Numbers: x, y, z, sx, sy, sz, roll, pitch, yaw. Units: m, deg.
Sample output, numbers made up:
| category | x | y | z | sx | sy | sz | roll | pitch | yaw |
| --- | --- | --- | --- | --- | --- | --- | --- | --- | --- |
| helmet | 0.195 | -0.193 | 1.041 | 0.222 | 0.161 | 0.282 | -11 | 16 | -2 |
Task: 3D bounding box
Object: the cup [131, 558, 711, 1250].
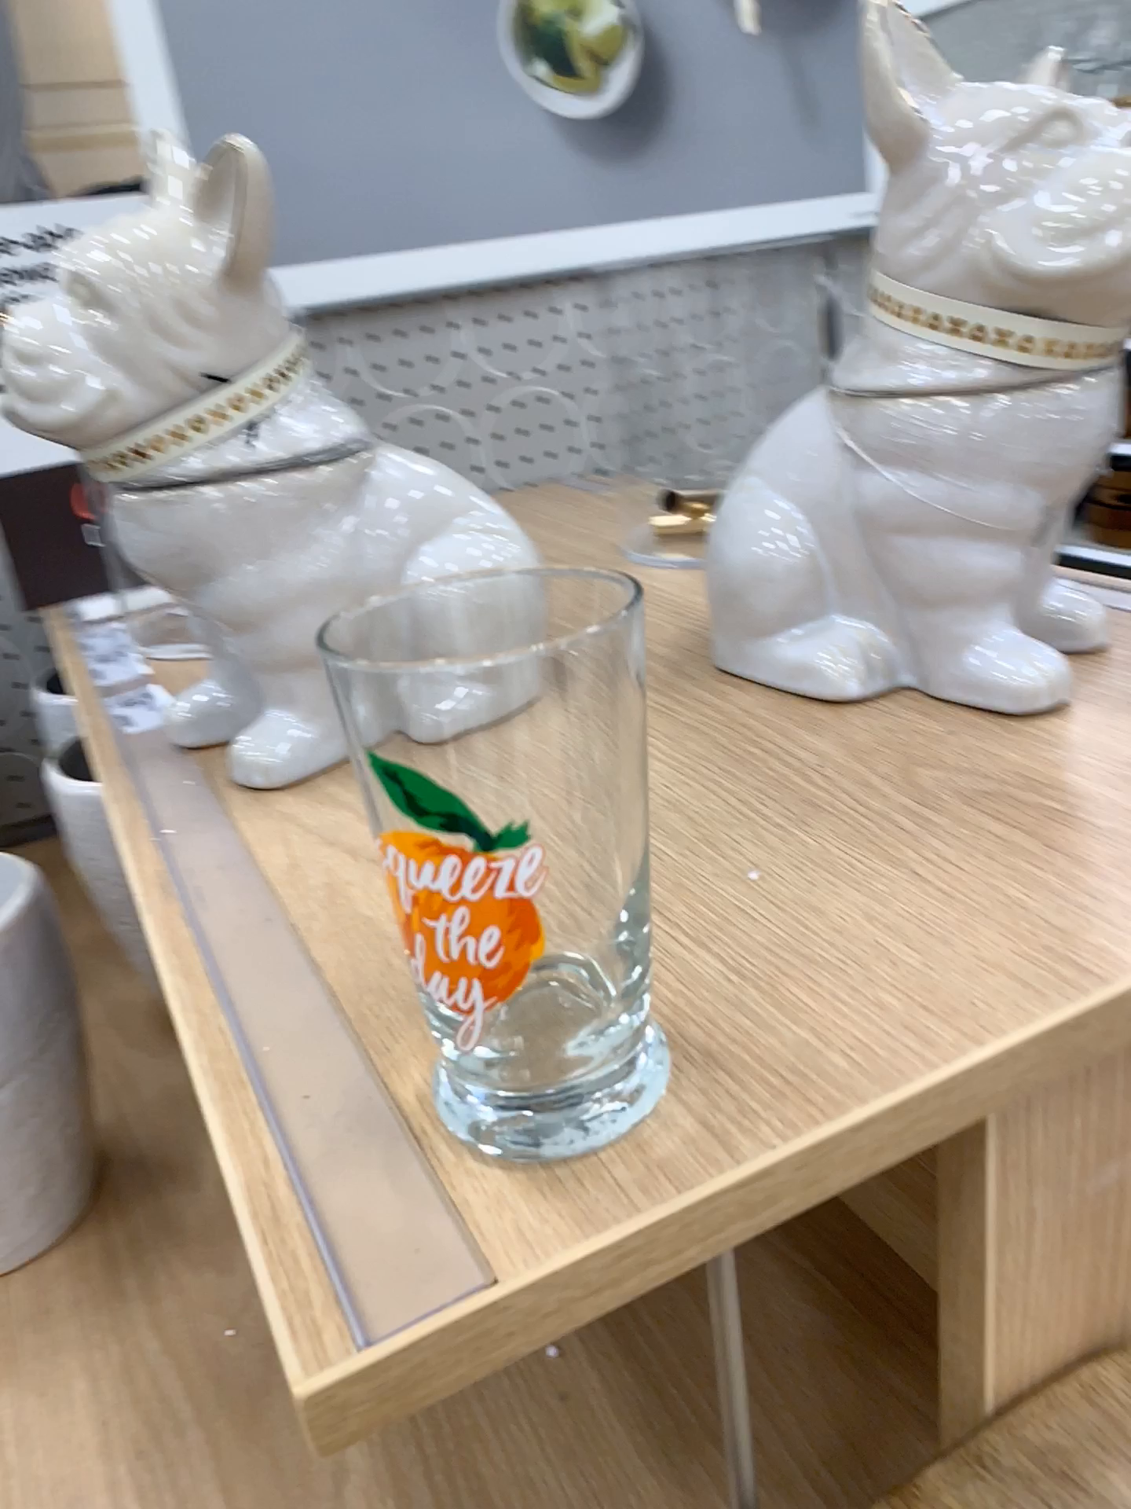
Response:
| category | x | y | z | sx | sy | sz | roll | pitch | yaw |
| --- | --- | --- | --- | --- | --- | --- | --- | --- | --- |
| cup | -0.023 | 0.026 | 0.260 | 0.080 | 0.119 | 0.080 | -7 | 22 | 3 |
